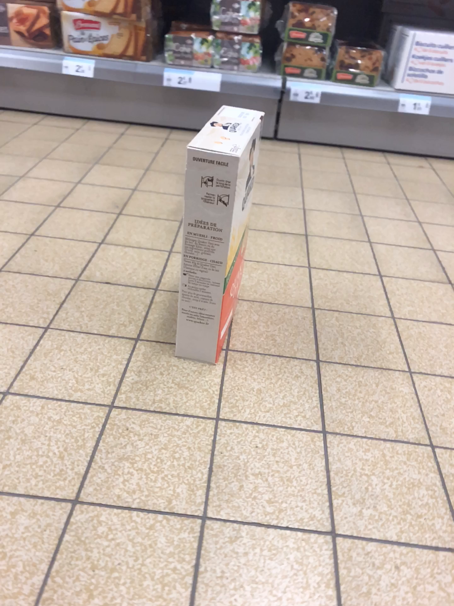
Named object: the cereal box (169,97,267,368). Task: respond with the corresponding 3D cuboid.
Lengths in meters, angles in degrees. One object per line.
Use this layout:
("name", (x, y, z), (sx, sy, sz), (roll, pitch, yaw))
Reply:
("cereal box", (-0.010, -0.073, 0.516), (0.050, 0.228, 0.151), (11, 34, 8))
